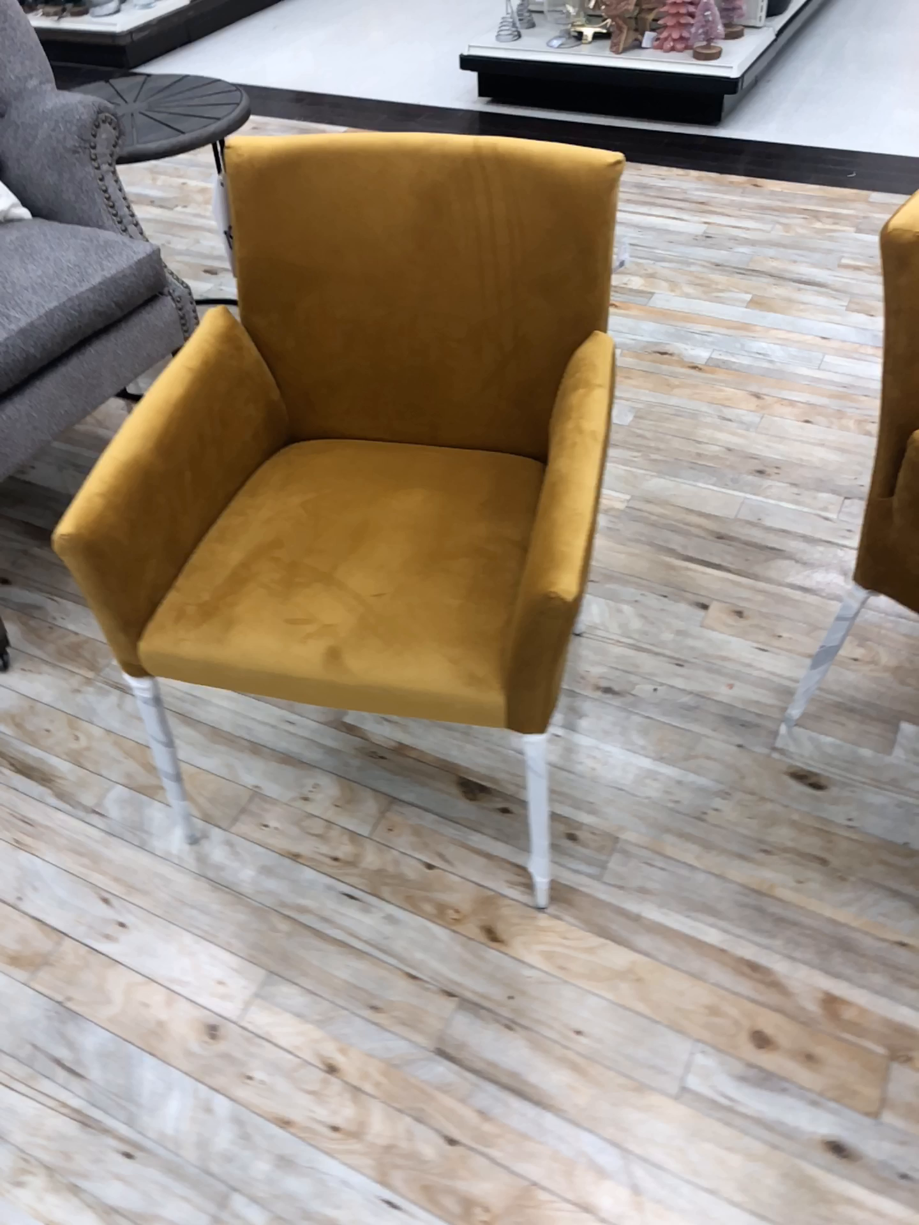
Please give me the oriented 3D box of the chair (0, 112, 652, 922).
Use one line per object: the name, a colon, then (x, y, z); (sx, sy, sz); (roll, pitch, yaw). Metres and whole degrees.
chair: (-0.098, -0.111, 1.272); (0.560, 0.797, 0.542); (7, 44, 12)
